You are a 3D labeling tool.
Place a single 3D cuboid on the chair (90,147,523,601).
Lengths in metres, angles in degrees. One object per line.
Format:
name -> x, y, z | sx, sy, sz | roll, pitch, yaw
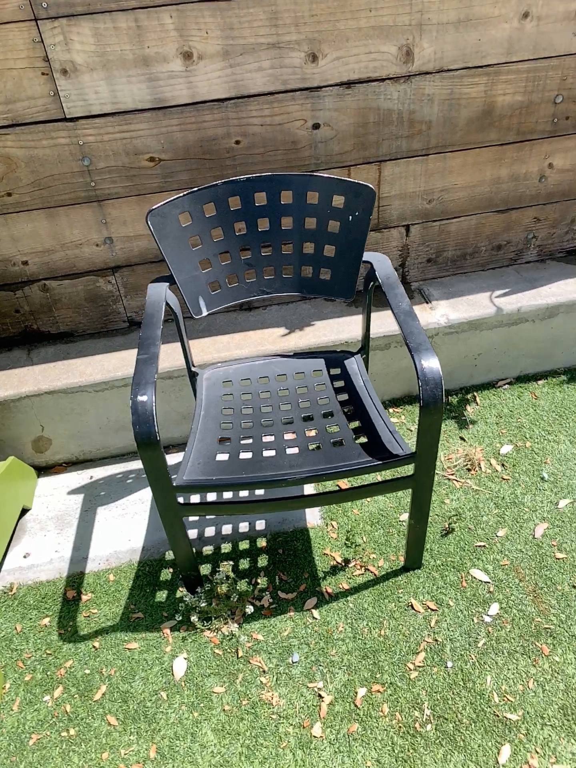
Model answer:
chair -> 0.024, -0.005, 1.228 | 0.590, 0.716, 0.523 | -7, 43, -2
